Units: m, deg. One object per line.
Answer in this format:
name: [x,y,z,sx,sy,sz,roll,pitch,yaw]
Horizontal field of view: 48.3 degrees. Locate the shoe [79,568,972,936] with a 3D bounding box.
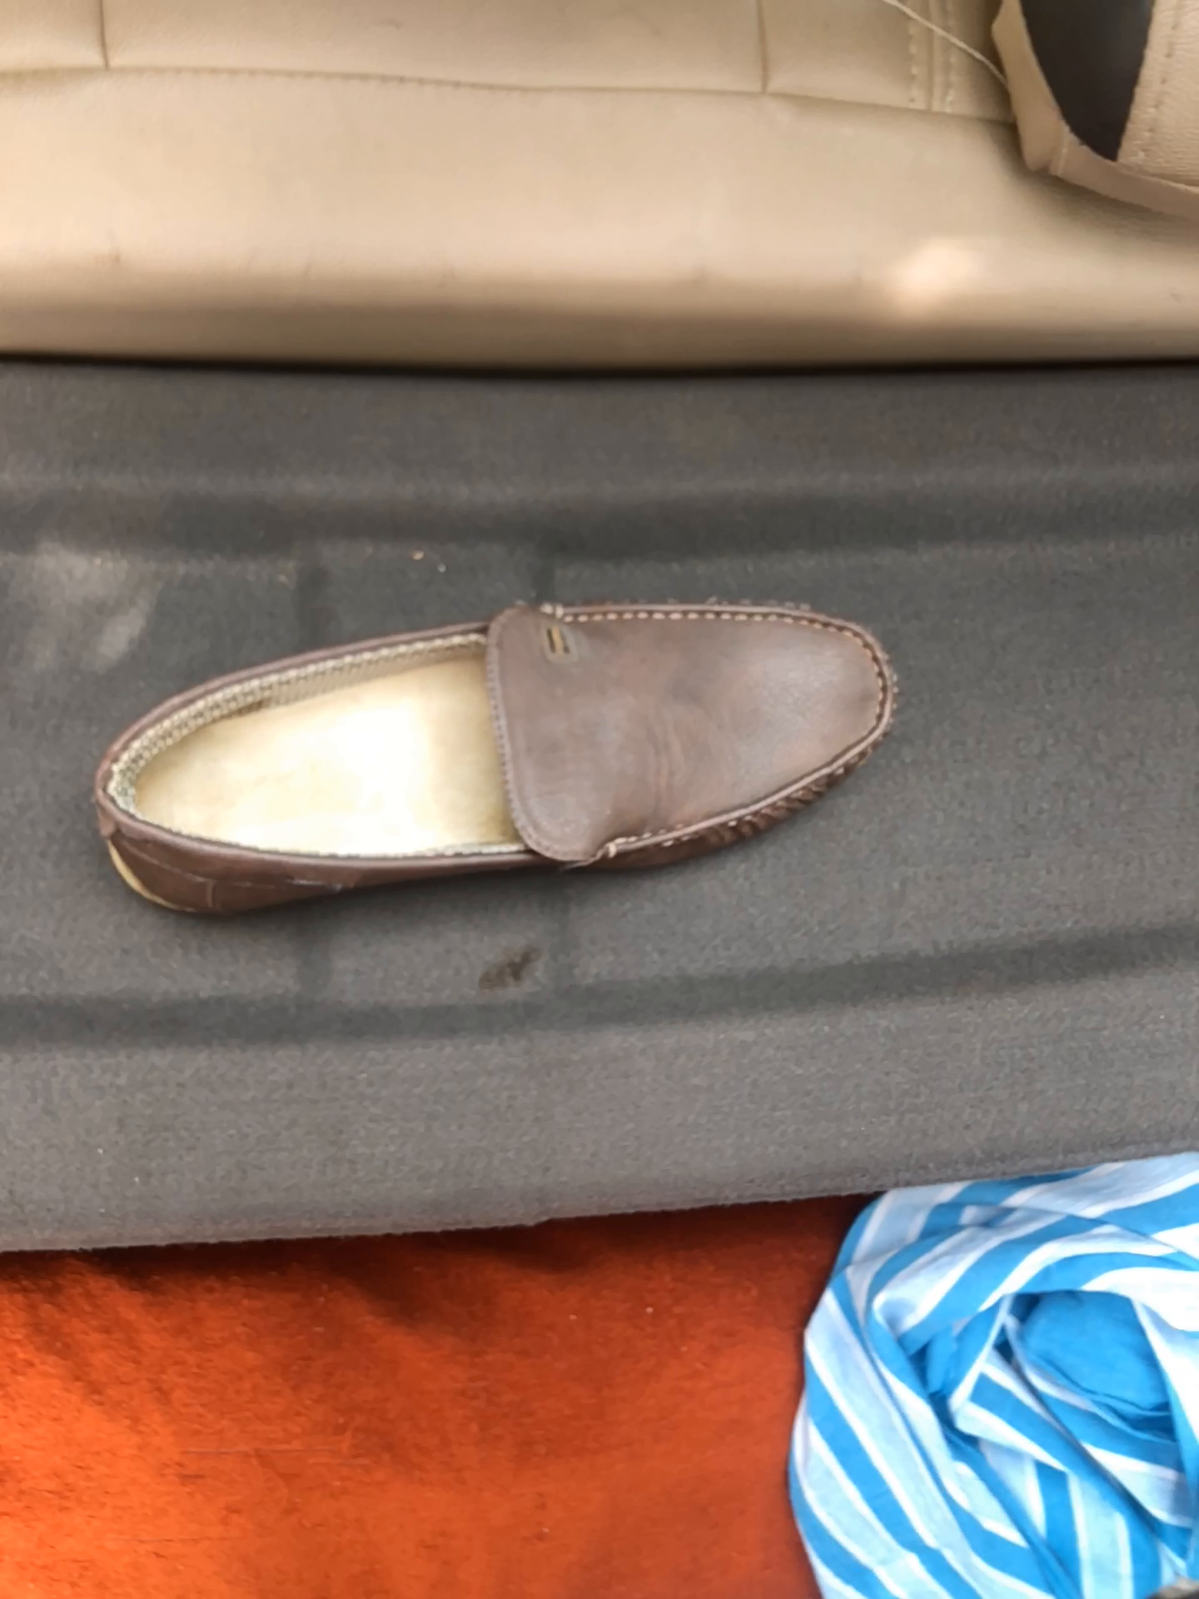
shoe: [-0.022,-0.016,0.425,0.260,0.050,0.080,-6,73,-9]
